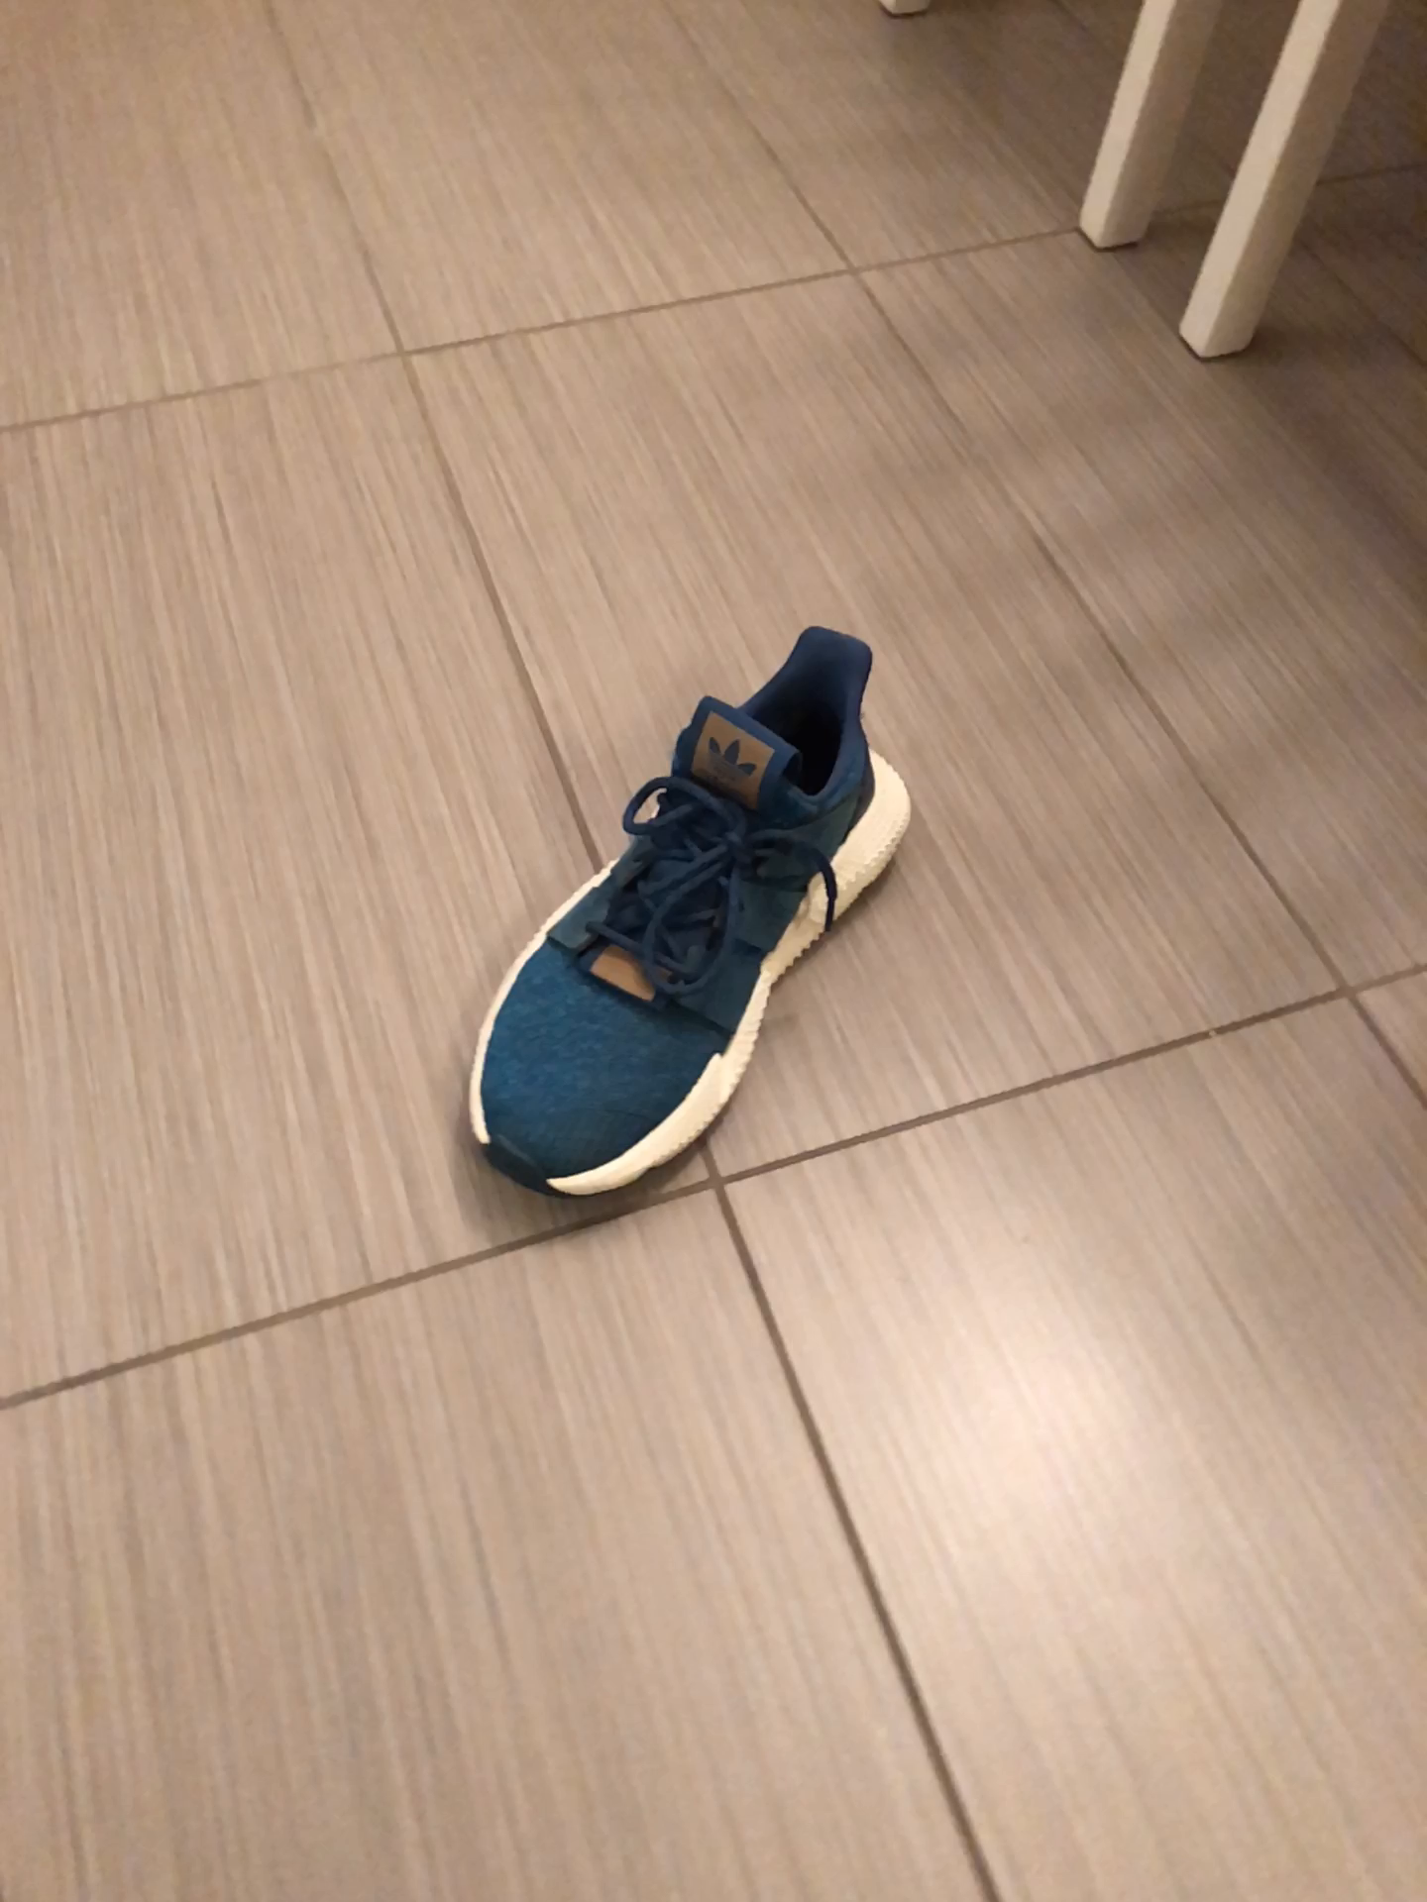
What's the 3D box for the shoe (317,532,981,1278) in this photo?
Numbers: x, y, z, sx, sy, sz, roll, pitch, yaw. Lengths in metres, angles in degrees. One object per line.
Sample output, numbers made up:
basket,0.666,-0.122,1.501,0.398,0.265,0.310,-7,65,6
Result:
shoe,-0.014,-0.030,0.657,0.111,0.119,0.291,28,58,19
